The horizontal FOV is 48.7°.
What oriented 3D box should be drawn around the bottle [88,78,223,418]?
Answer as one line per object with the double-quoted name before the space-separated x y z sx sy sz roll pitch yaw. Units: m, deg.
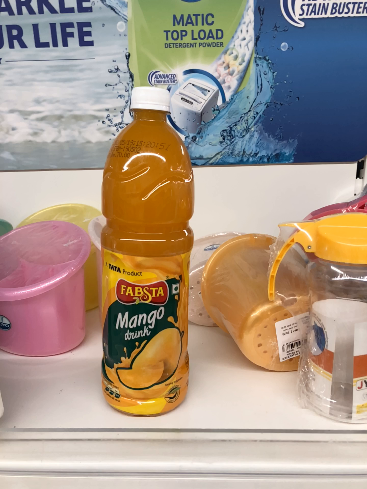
"bottle" -0.027 0.006 0.343 0.090 0.259 0.080 3 14 -2
